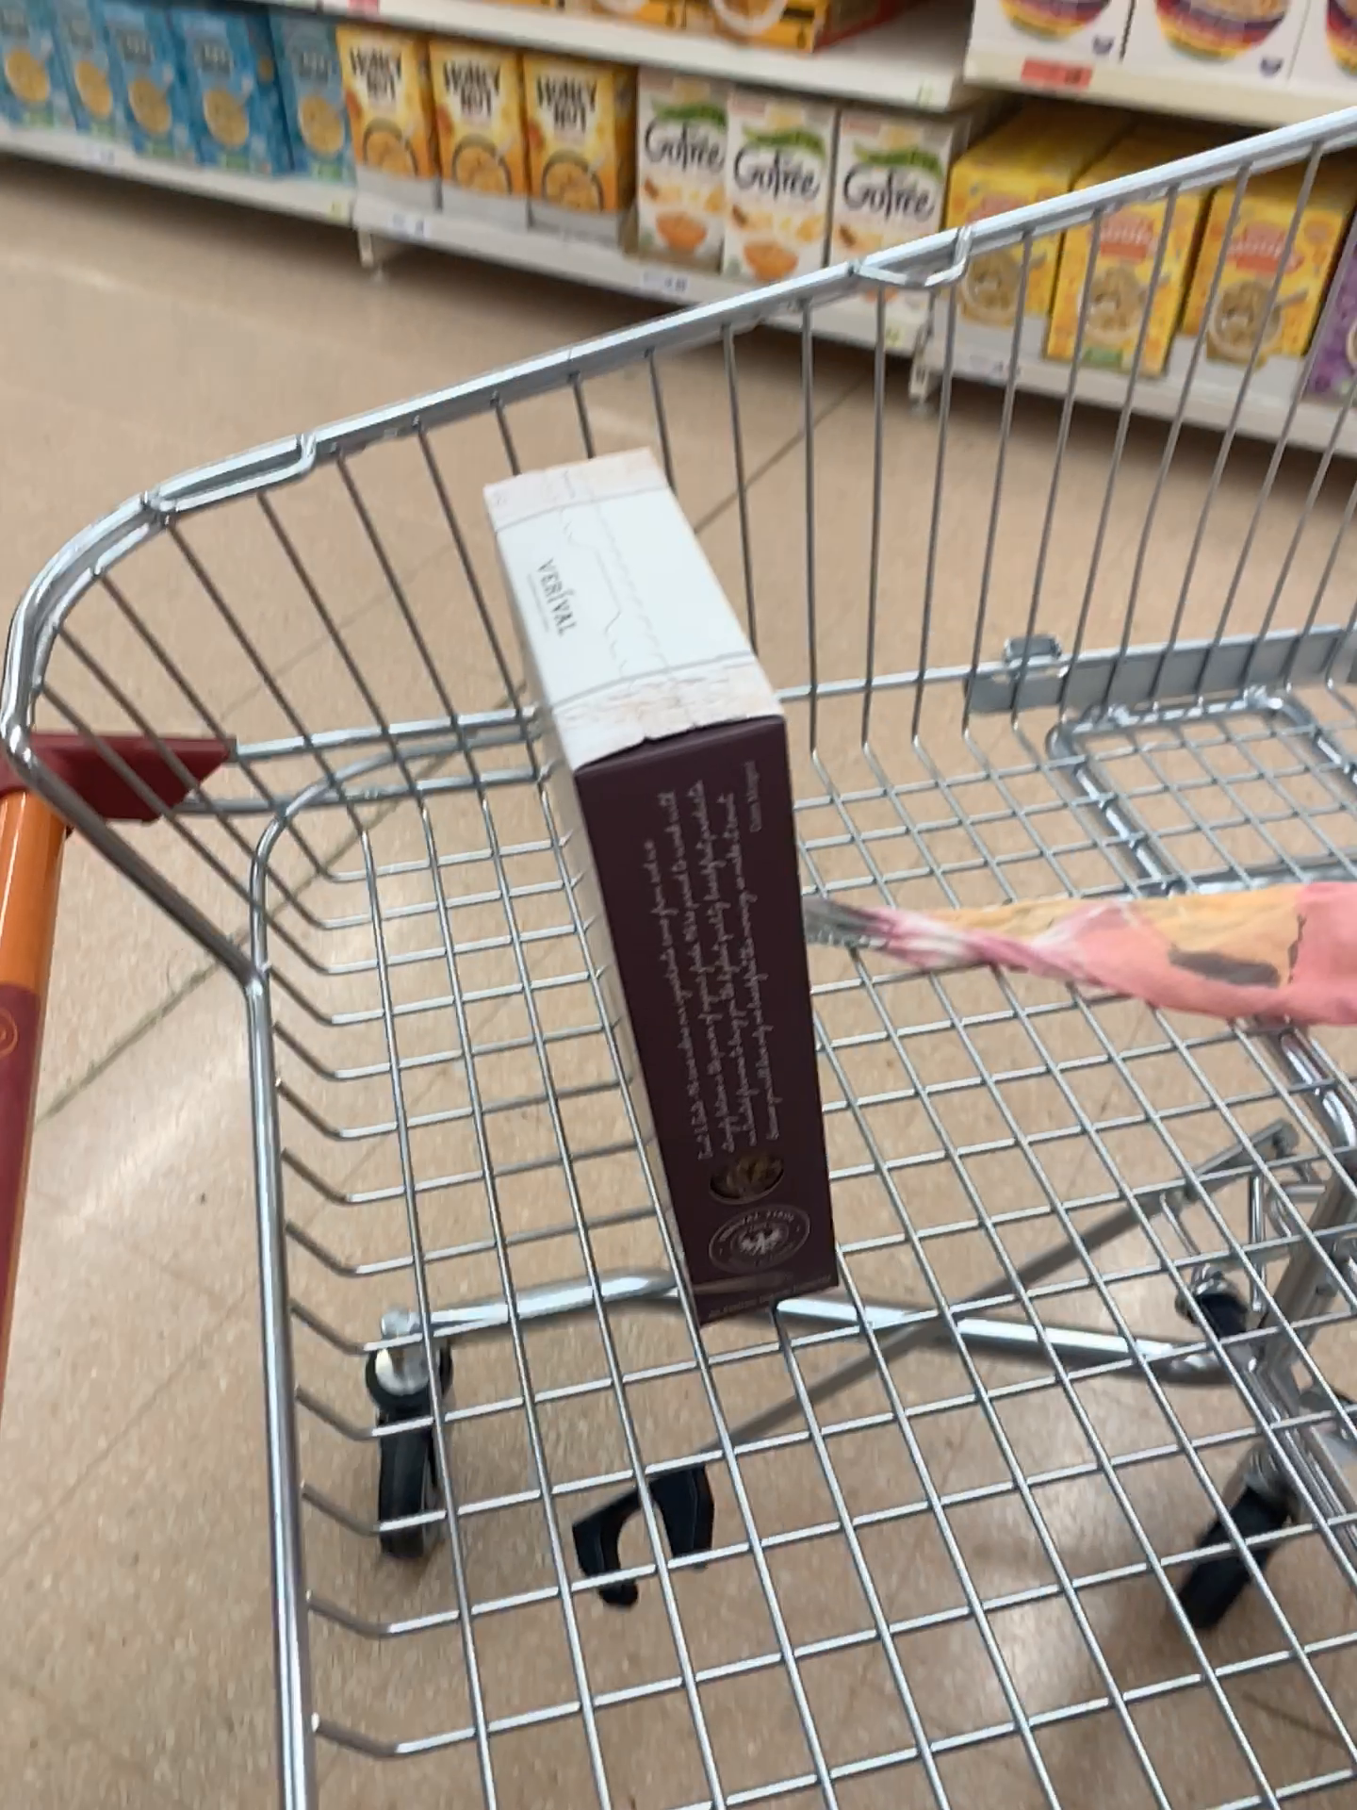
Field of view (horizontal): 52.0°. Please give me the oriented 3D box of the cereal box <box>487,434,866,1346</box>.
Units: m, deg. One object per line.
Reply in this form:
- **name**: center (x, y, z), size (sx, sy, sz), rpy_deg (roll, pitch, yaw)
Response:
- **cereal box**: center (0.003, 0.004, 0.397), size (0.050, 0.218, 0.141), rpy_deg (-15, 45, -5)
